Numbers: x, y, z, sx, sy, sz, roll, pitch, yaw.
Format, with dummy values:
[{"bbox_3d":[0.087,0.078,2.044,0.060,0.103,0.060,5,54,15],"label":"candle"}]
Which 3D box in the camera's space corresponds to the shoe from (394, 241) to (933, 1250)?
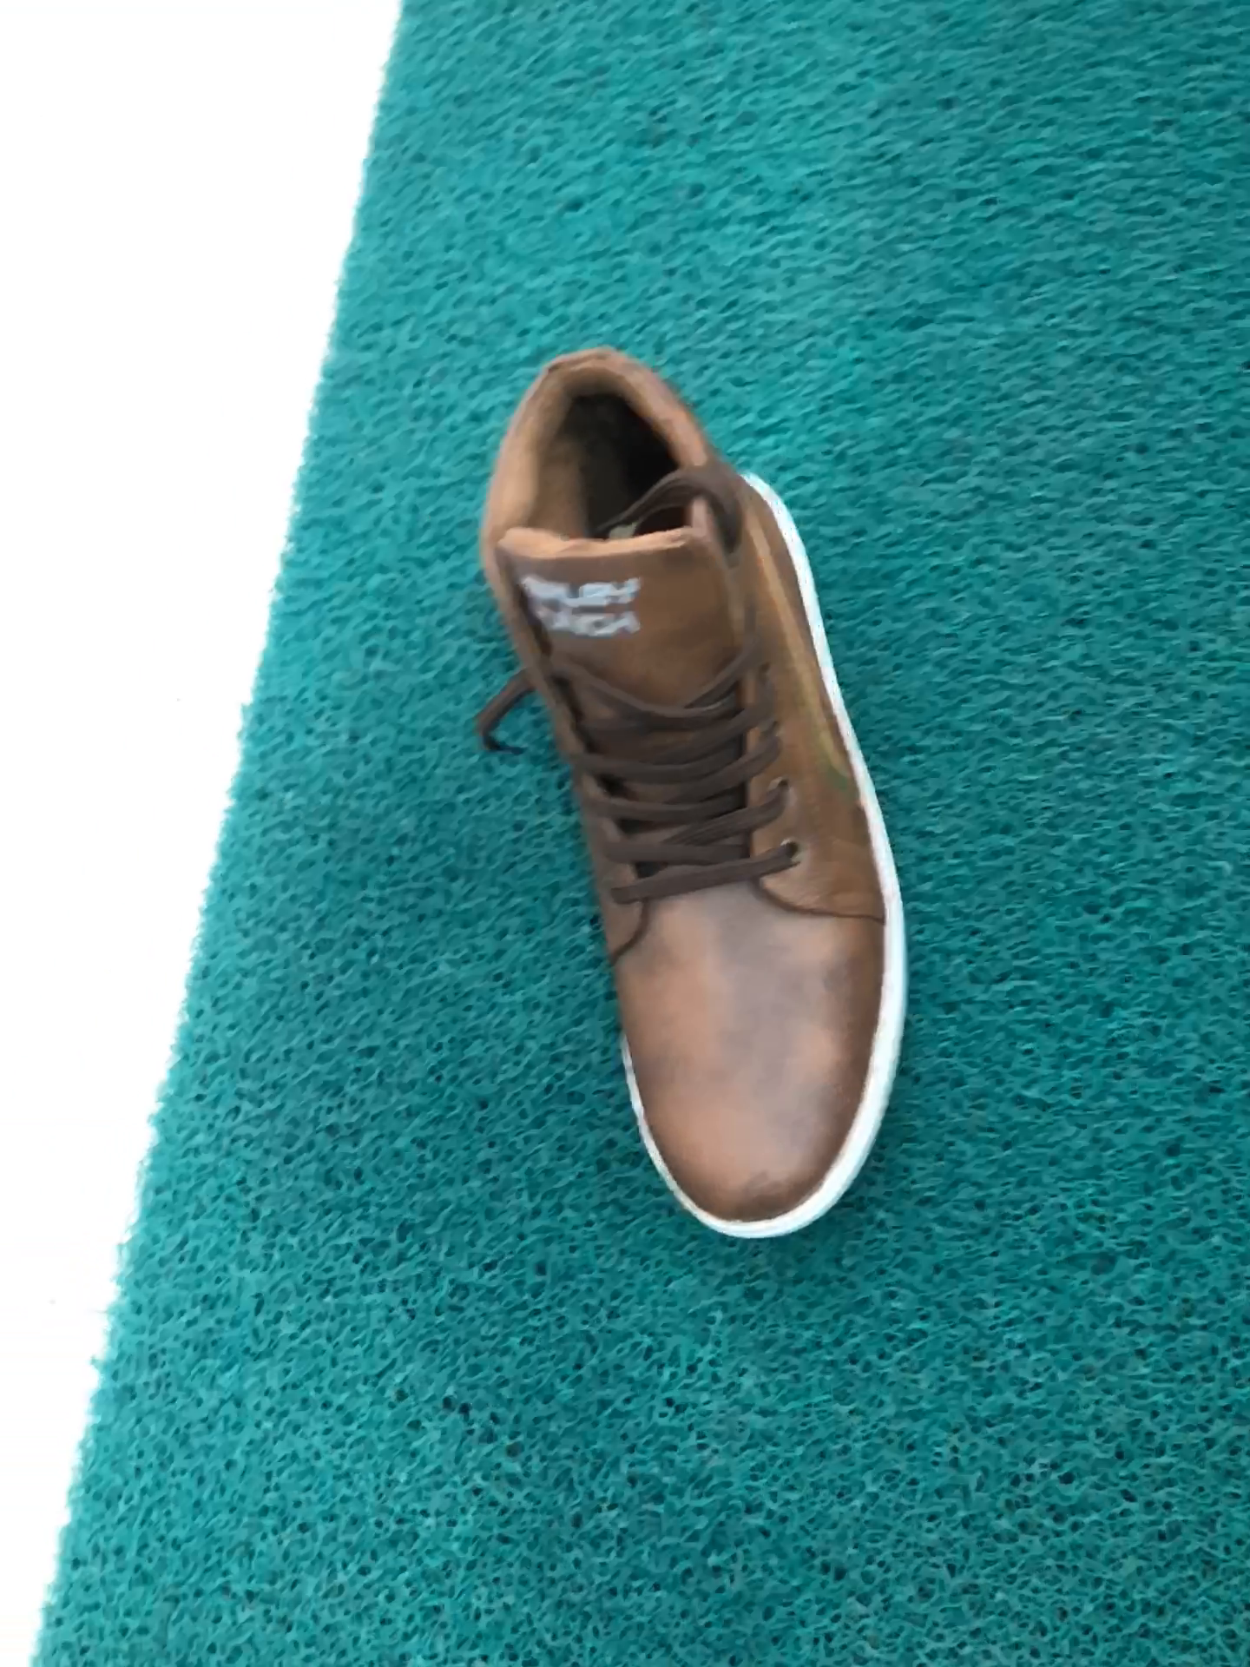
[{"bbox_3d":[0.018,-0.009,0.454,0.090,0.190,0.270,-13,70,16],"label":"shoe"}]
